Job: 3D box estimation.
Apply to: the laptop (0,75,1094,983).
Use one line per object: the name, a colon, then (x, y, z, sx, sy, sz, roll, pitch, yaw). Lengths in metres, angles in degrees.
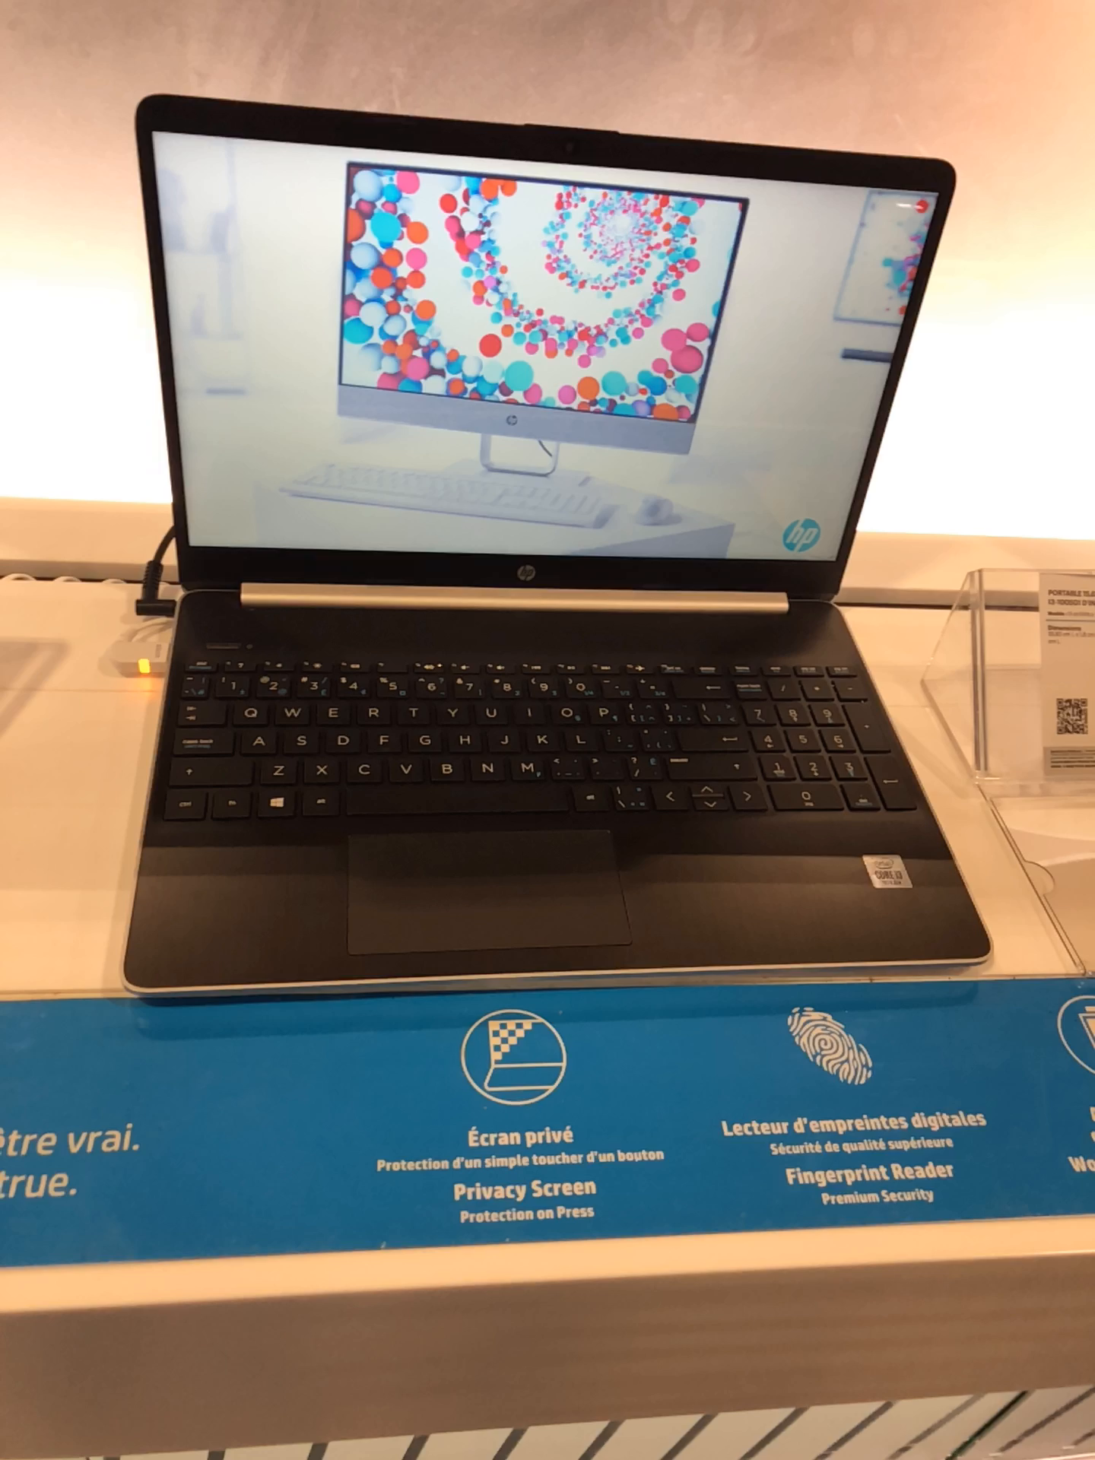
laptop: (0.009, -0.086, 0.497, 0.355, 0.221, 0.284, 0, 45, -9)
